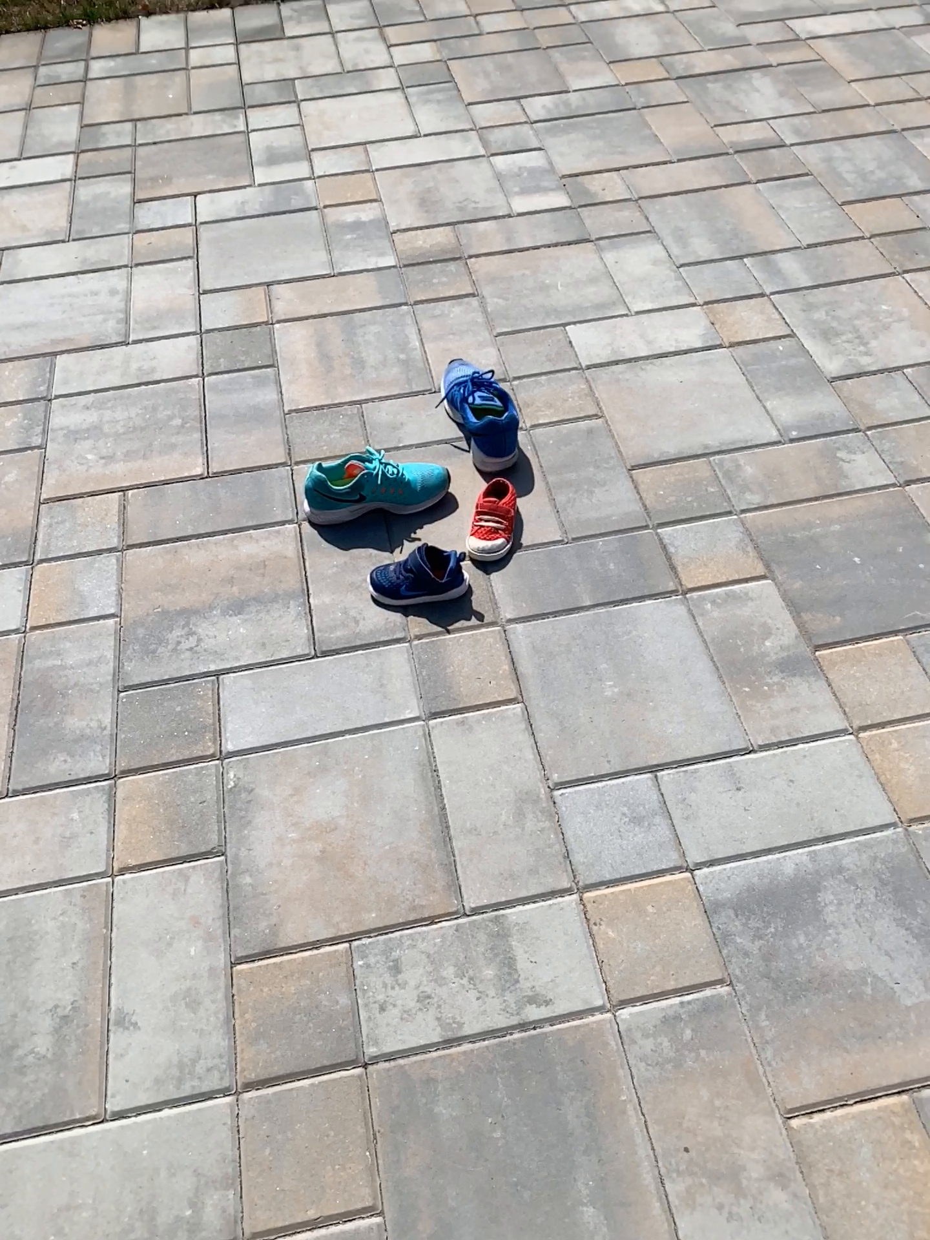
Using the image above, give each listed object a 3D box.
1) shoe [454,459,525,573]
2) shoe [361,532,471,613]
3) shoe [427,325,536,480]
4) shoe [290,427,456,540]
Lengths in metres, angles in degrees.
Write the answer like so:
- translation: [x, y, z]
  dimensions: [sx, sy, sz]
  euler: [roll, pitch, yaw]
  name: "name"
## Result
- translation: [0.039, -0.159, 1.442]
  dimensions: [0.080, 0.080, 0.150]
  euler: [8, 53, 7]
  name: "shoe"
- translation: [-0.070, -0.068, 1.366]
  dimensions: [0.150, 0.070, 0.080]
  euler: [-5, 52, -2]
  name: "shoe"
- translation: [0.024, -0.364, 1.575]
  dimensions: [0.110, 0.110, 0.241]
  euler: [-14, 53, -9]
  name: "shoe"
- translation: [-0.142, -0.213, 1.482]
  dimensions: [0.240, 0.100, 0.100]
  euler: [-9, 52, -6]
  name: "shoe"
